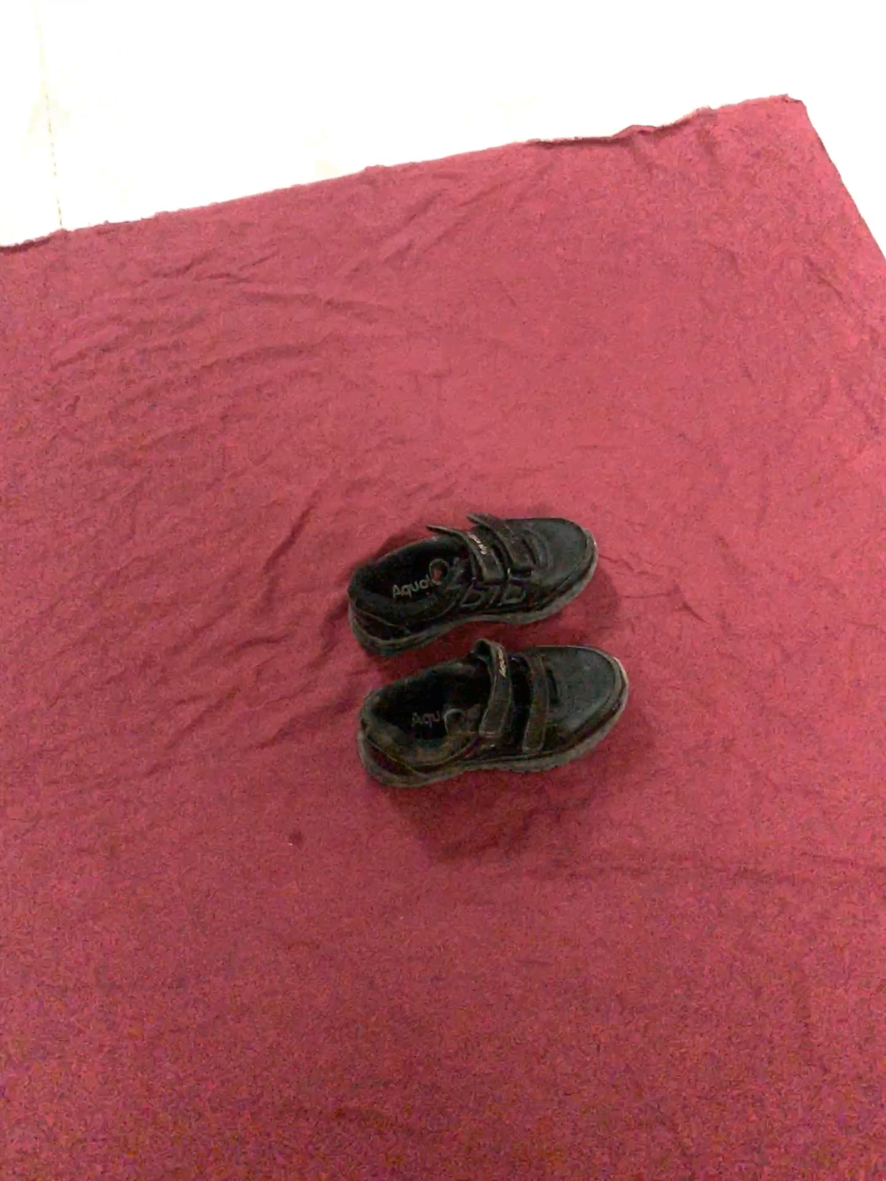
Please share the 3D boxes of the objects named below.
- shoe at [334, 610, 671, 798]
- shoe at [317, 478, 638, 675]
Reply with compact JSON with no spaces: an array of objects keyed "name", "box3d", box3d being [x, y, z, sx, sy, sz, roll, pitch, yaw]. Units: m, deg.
[{"name":"shoe","box3d":[0.039,0.079,0.627,0.210,0.070,0.070,-12,67,-4]},{"name":"shoe","box3d":[0.024,-0.009,0.657,0.210,0.070,0.070,-15,67,-5]}]
